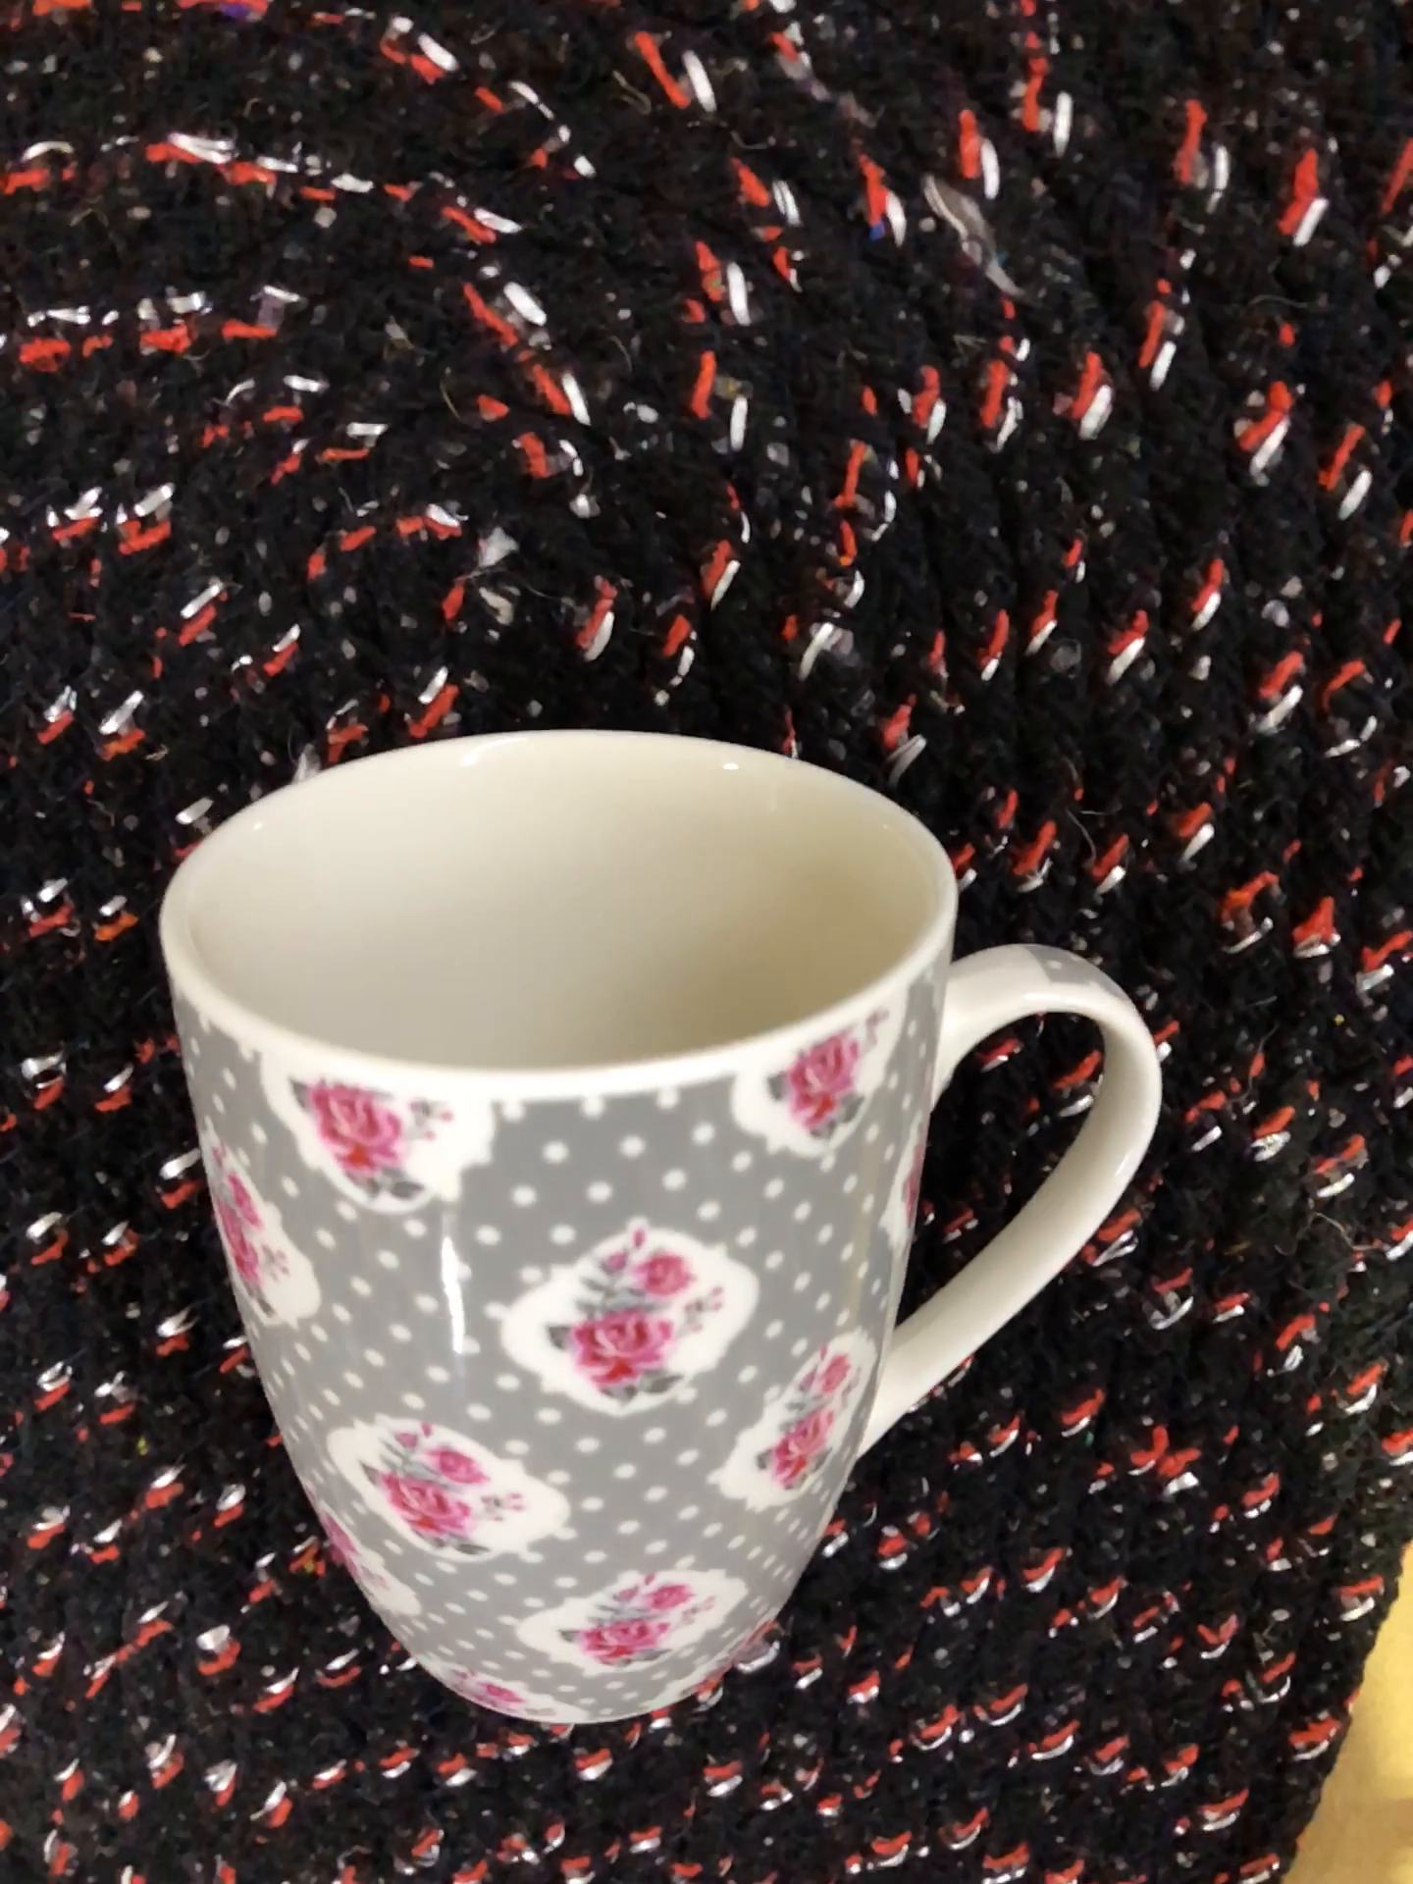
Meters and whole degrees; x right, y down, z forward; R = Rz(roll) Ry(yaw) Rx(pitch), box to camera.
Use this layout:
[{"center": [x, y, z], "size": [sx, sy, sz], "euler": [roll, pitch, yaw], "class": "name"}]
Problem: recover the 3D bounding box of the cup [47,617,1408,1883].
[{"center": [-0.007, 0.029, 0.182], "size": [0.110, 0.090, 0.100], "euler": [-9, 121, -16], "class": "cup"}]
